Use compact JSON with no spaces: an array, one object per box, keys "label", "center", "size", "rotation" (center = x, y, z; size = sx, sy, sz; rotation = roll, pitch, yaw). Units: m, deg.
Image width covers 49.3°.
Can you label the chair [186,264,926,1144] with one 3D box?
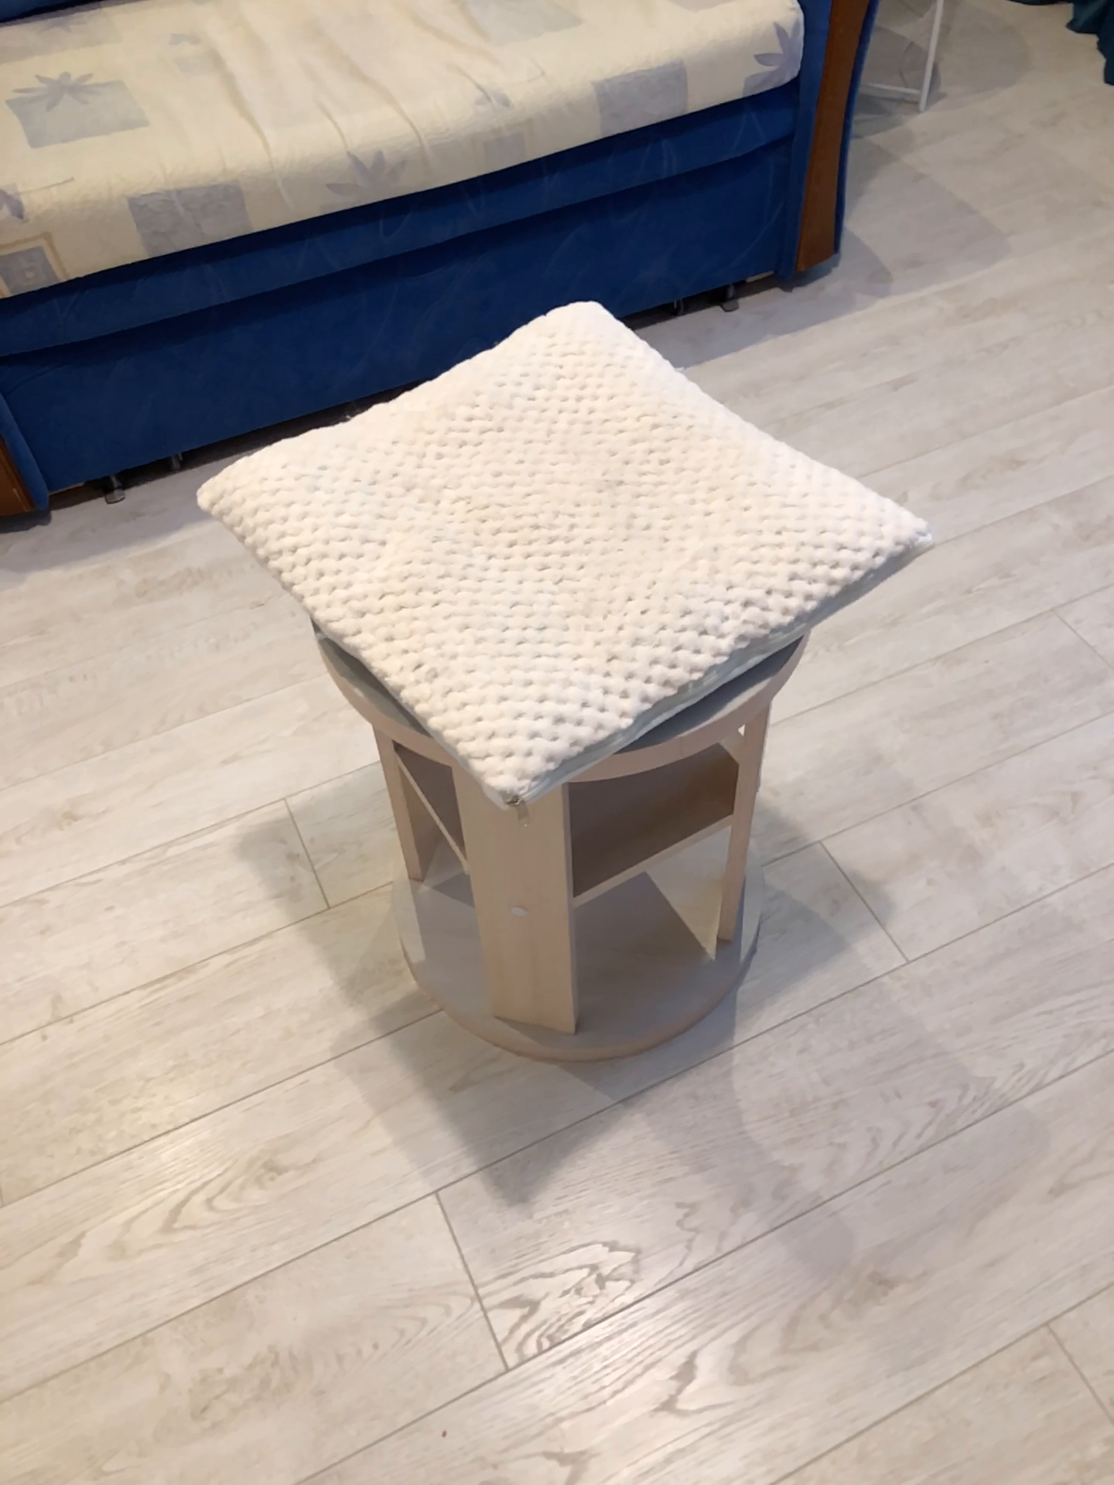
[{"label":"chair","center":[-0.013,-0.014,1.043],"size":[0.380,0.547,0.402],"rotation":[-20,53,-12]}]
